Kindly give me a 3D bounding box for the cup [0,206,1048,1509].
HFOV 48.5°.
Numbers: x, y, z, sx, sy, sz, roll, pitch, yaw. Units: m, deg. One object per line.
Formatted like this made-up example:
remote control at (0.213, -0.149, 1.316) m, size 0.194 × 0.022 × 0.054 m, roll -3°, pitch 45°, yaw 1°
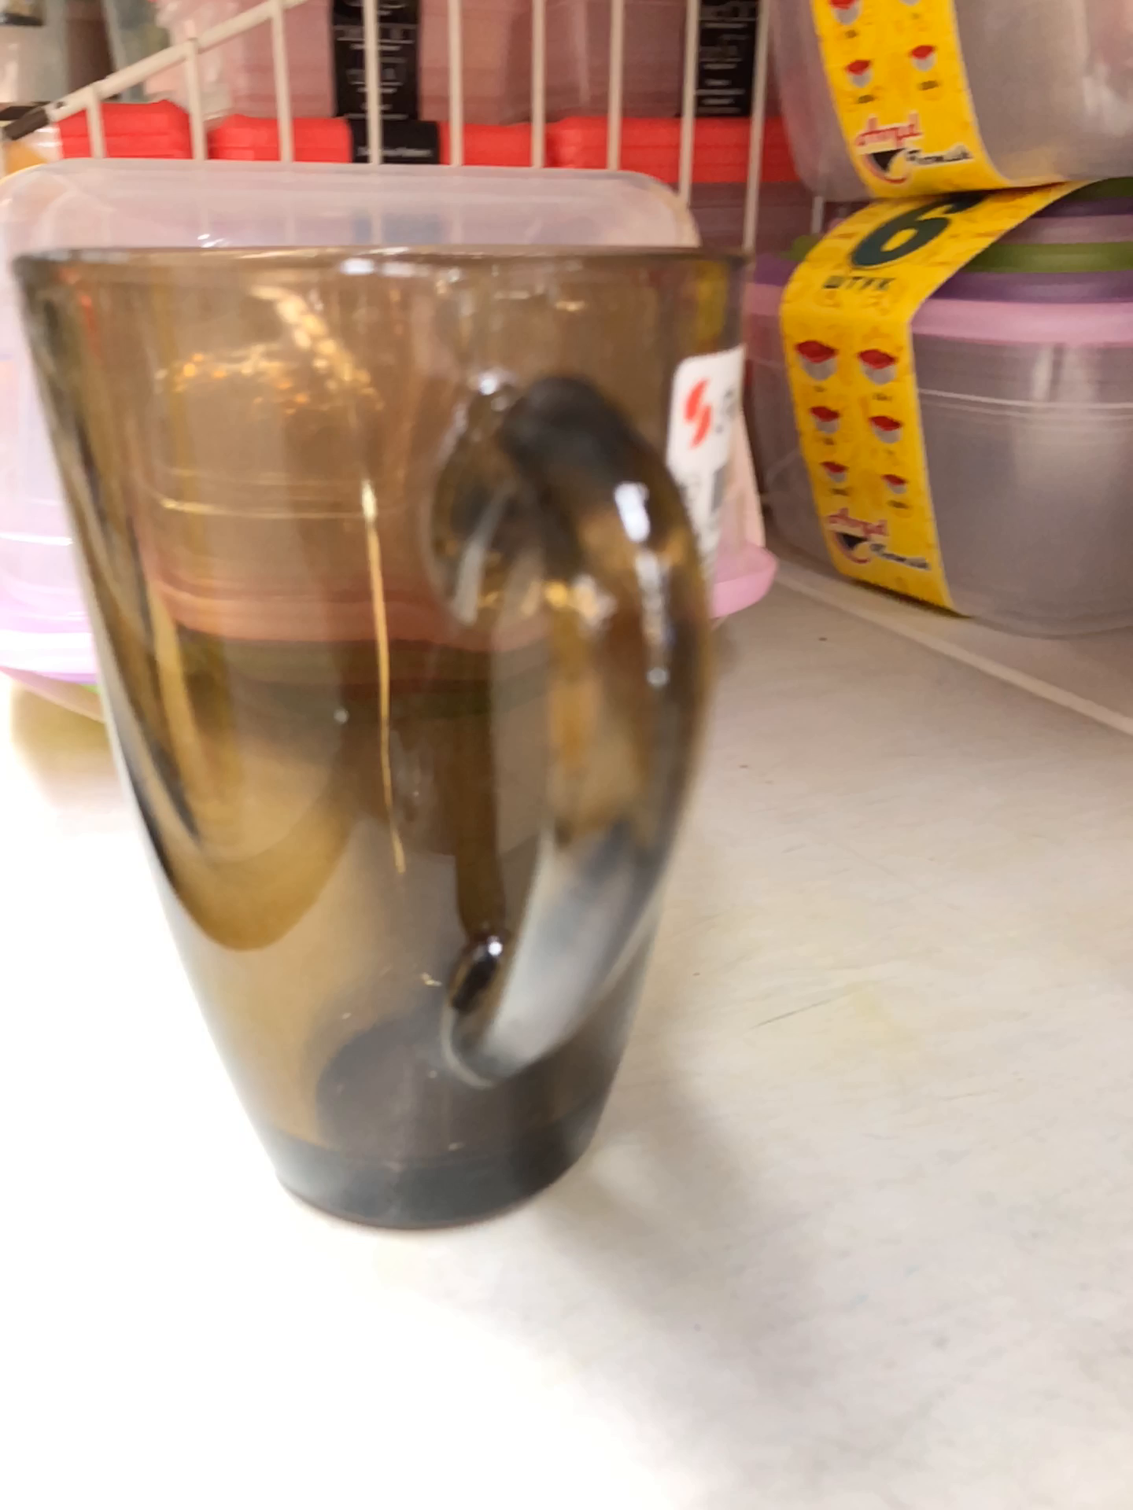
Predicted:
cup at (-0.020, -0.009, 0.146) m, size 0.072 × 0.096 × 0.112 m, roll -15°, pitch 25°, yaw -30°
